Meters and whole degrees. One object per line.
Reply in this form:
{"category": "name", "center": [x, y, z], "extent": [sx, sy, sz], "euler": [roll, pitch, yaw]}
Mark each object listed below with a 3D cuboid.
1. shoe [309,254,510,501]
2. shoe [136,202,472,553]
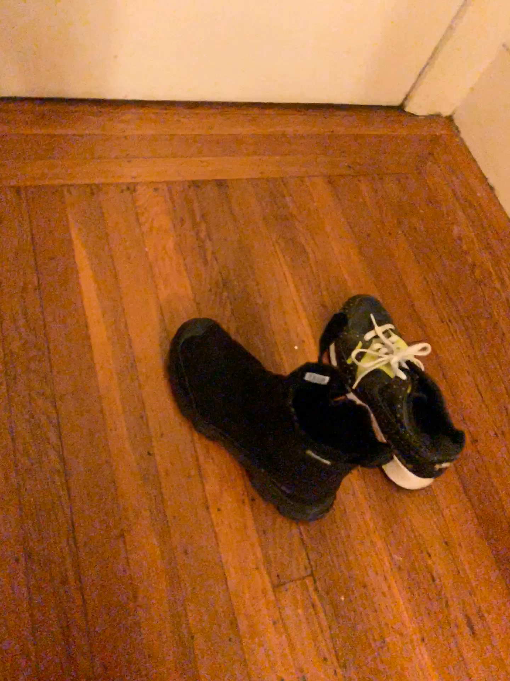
{"category": "shoe", "center": [0.196, 0.041, 0.684], "extent": [0.120, 0.100, 0.290], "euler": [-13, 68, -23]}
{"category": "shoe", "center": [0.027, 0.055, 0.608], "extent": [0.160, 0.239, 0.310], "euler": [-34, 78, -29]}
